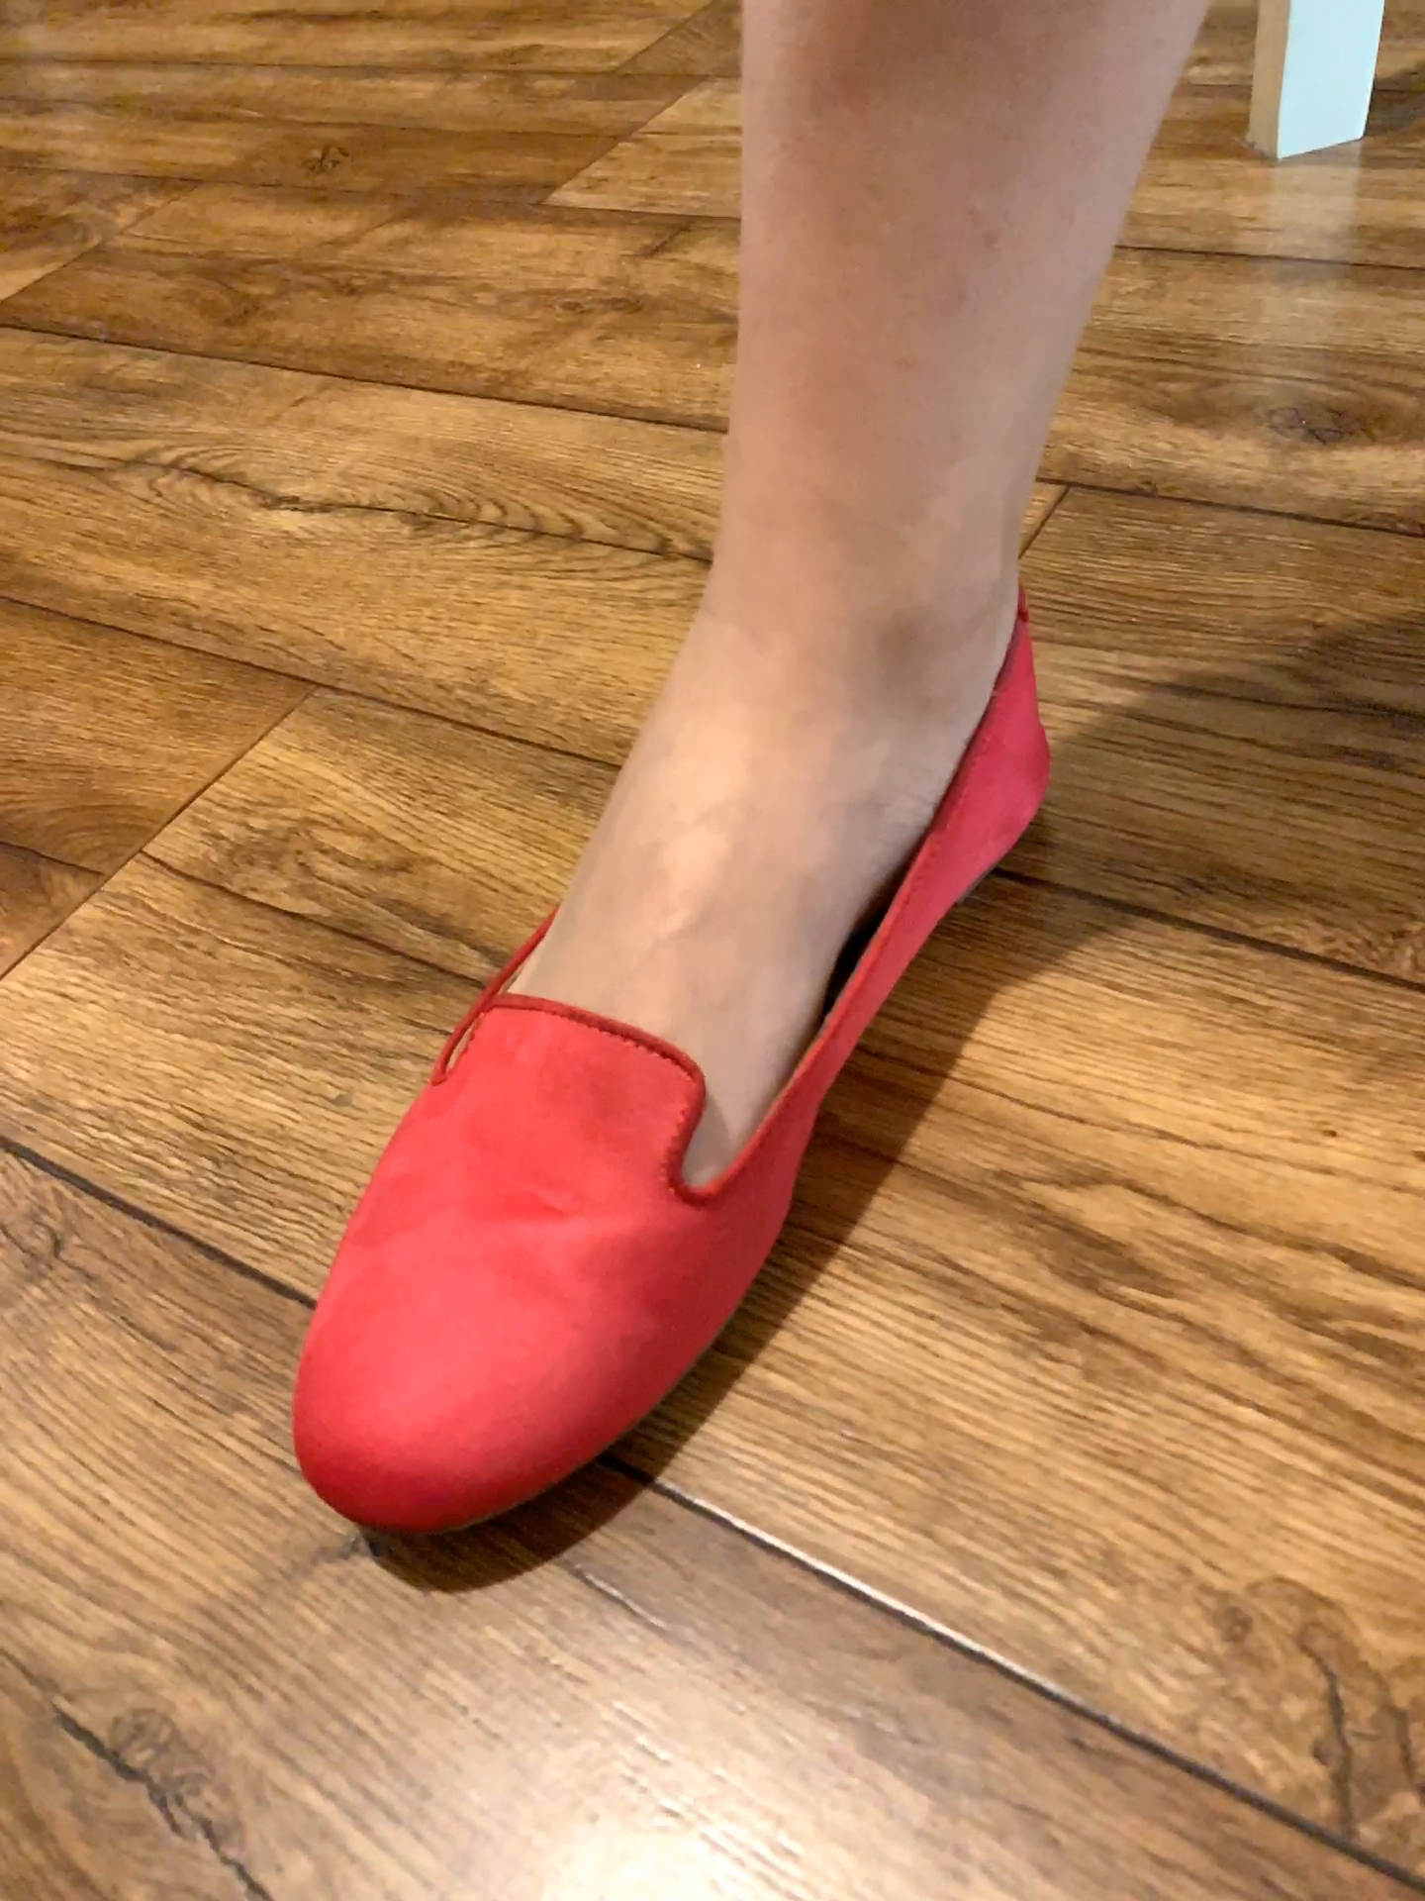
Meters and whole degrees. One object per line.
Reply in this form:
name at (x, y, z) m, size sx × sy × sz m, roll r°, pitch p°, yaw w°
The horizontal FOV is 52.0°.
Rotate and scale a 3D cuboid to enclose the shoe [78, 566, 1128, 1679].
shoe at (-0.004, 0.015, 0.299) m, size 0.087 × 0.060 × 0.220 m, roll 22°, pitch 56°, yaw 29°
